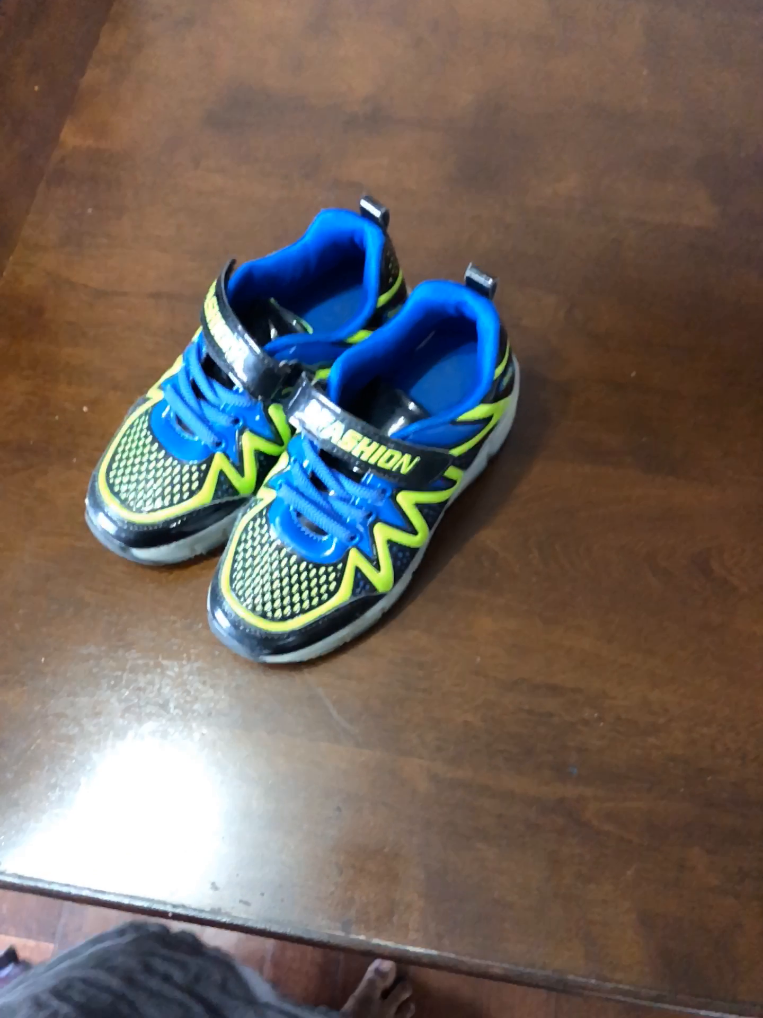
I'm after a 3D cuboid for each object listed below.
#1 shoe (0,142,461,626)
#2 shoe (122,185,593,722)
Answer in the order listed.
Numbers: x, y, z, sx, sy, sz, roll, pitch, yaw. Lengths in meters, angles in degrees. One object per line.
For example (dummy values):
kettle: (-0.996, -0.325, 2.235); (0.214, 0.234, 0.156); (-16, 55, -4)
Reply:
shoe: (-0.070, -0.062, 0.447); (0.100, 0.120, 0.210); (41, 74, 15)
shoe: (-0.003, -0.025, 0.427); (0.090, 0.120, 0.230); (32, 72, 13)
